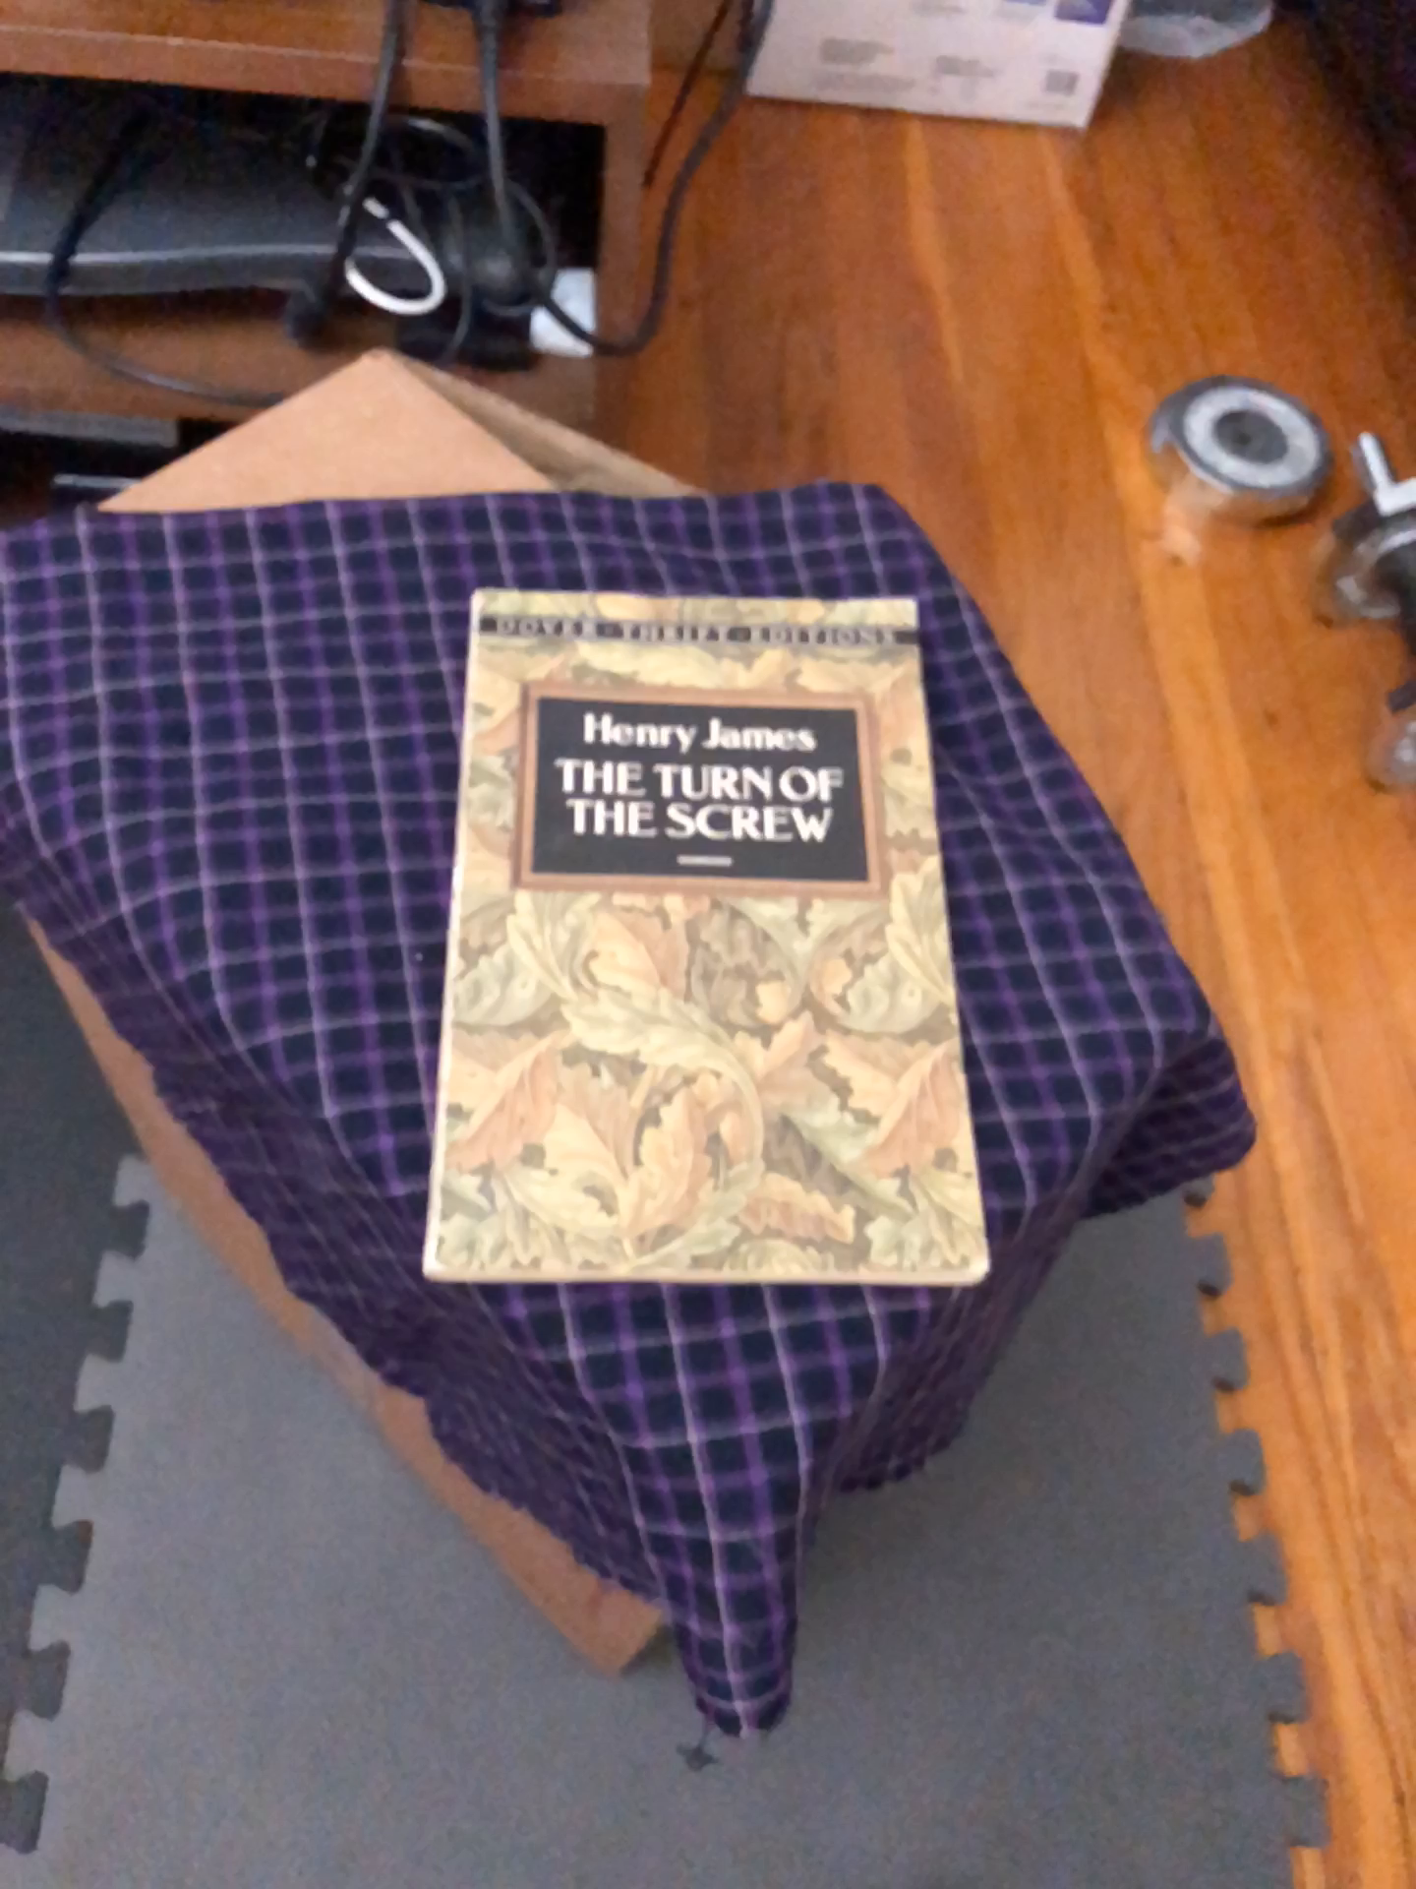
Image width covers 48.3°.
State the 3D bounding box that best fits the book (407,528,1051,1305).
[{"bbox_3d":[0.002,-0.018,0.401,0.140,0.010,0.221,1,59,-6],"label":"book"}]
